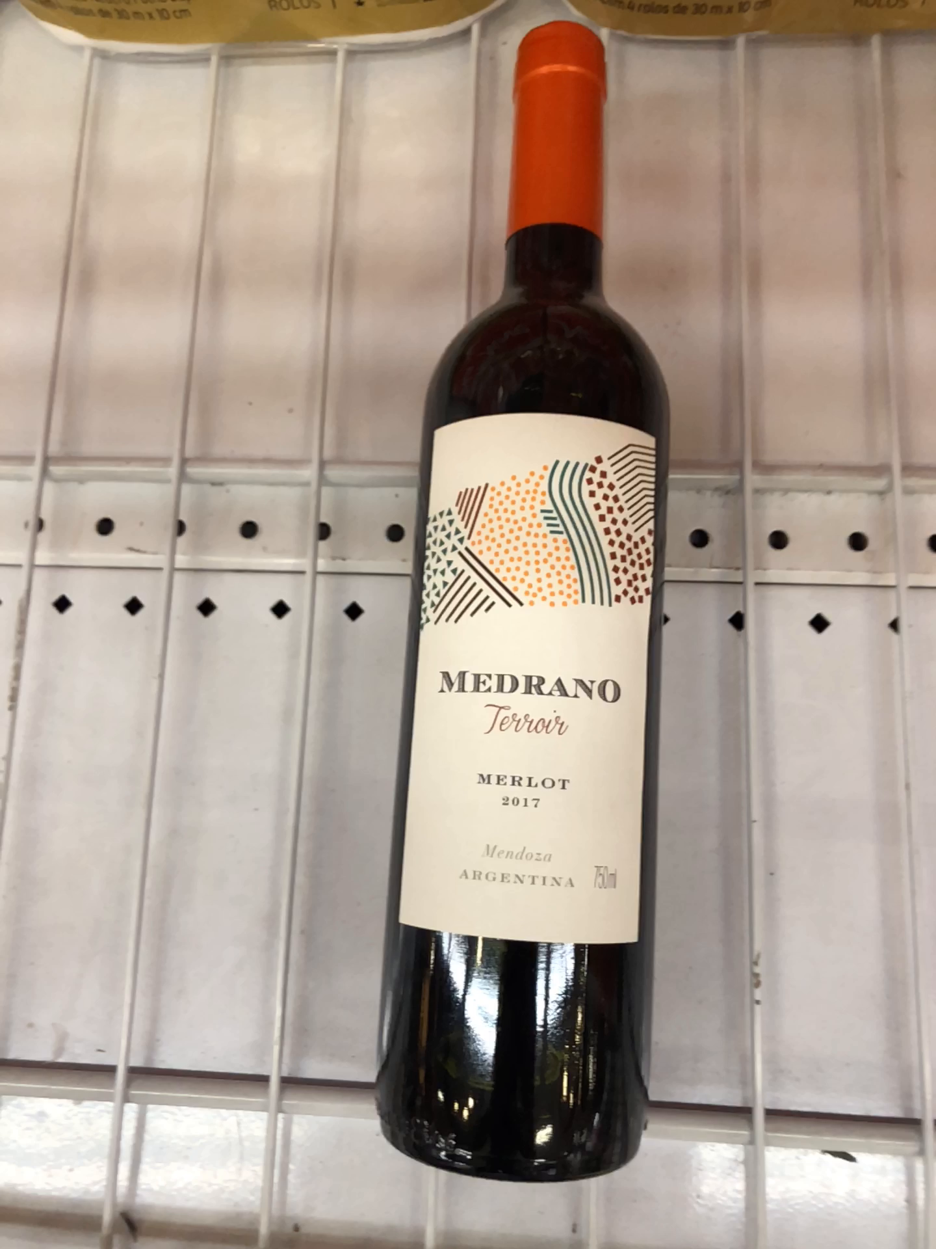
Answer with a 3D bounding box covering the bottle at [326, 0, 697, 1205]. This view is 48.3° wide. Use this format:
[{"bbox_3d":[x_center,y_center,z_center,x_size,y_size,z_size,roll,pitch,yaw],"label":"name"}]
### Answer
[{"bbox_3d":[0.019,-0.025,0.307,0.080,0.070,0.330,3,79,5],"label":"bottle"}]
